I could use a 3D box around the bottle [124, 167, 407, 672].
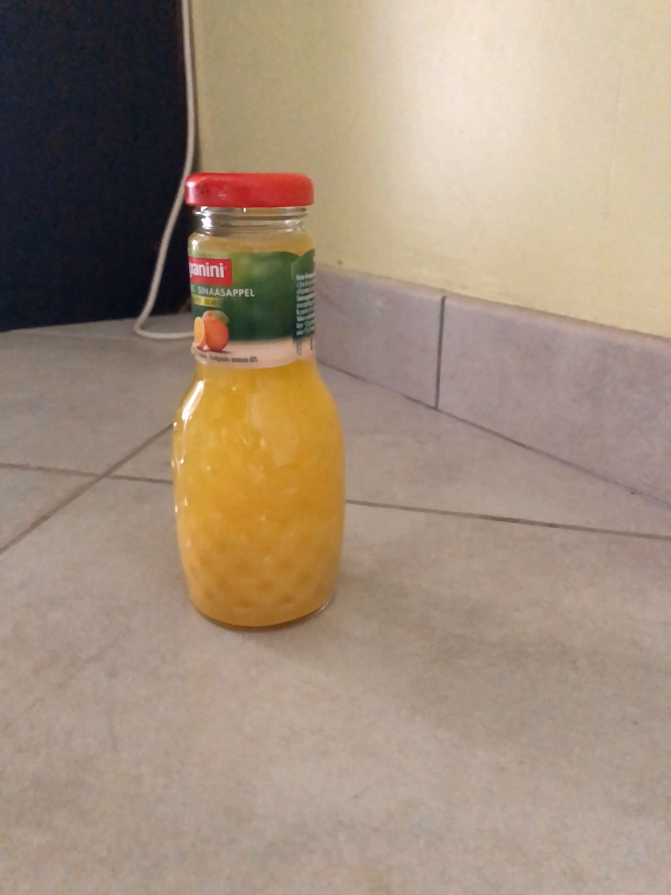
[{"bbox_3d":[-0.024,-0.015,0.267,0.060,0.159,0.070,-19,28,-41],"label":"bottle"}]
